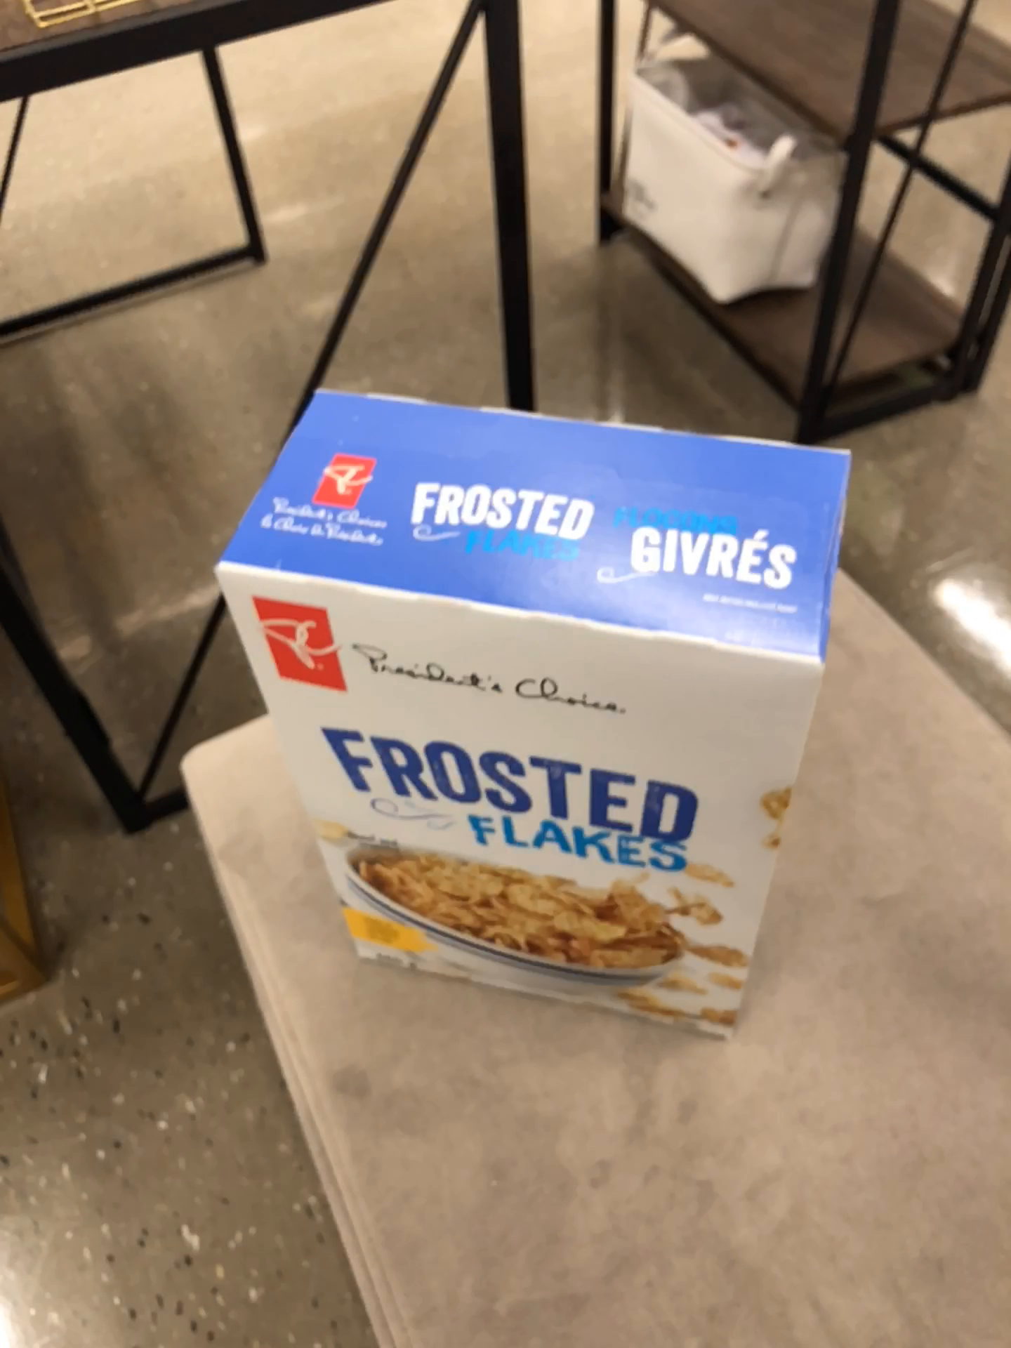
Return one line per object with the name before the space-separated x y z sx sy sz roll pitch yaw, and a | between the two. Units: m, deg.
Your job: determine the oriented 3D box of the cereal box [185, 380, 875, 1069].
cereal box | 0.019 0.040 0.471 0.200 0.289 0.100 10 52 12
